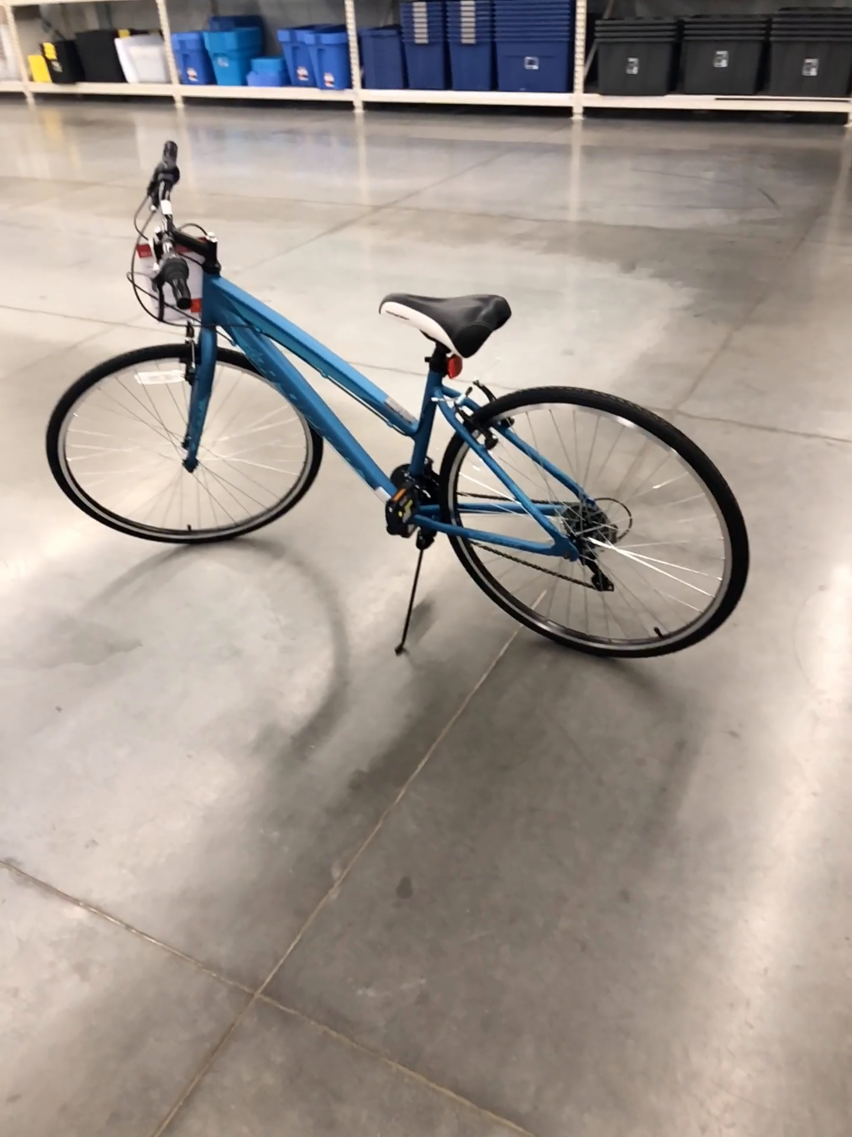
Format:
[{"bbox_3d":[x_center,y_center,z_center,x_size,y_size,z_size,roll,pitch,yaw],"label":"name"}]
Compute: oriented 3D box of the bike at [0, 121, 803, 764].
[{"bbox_3d":[-0.144,-0.343,1.976,1.606,0.978,0.580,11,35,19],"label":"bike"}]
